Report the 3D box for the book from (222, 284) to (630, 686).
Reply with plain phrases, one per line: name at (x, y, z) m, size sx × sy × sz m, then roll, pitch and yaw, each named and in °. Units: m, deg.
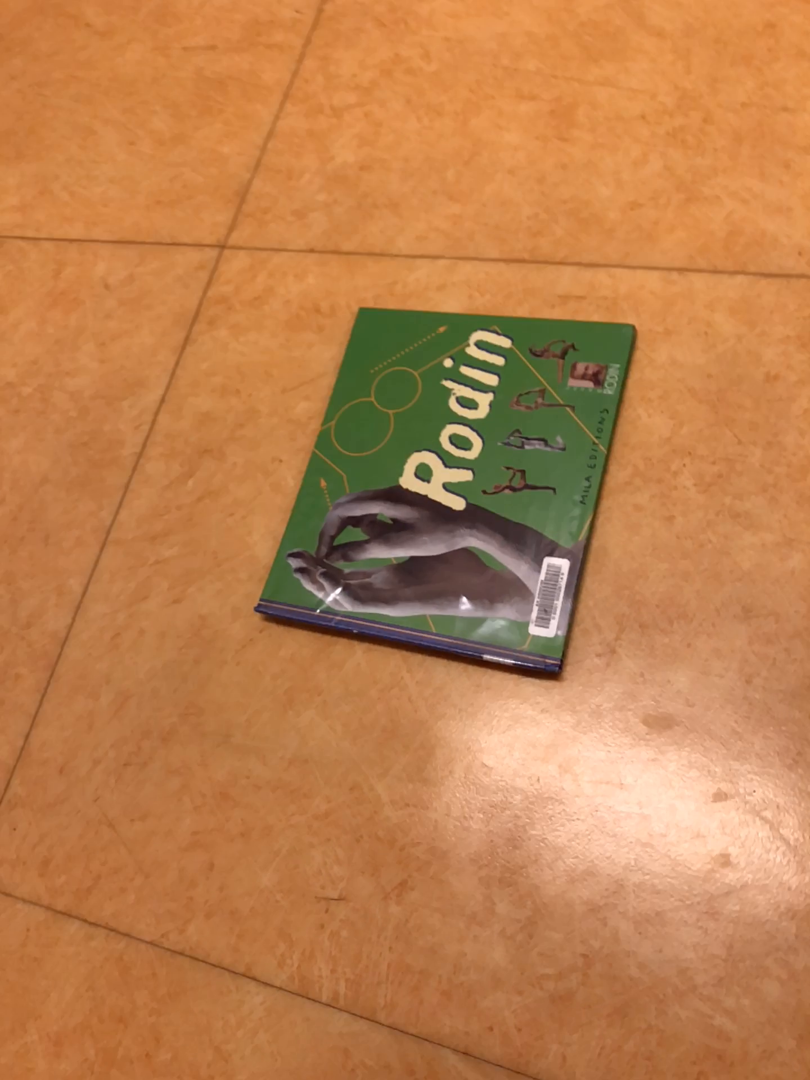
book at (0.018, -0.049, 0.566) m, size 0.200 × 0.030 × 0.244 m, roll 10°, pitch 69°, yaw 20°
